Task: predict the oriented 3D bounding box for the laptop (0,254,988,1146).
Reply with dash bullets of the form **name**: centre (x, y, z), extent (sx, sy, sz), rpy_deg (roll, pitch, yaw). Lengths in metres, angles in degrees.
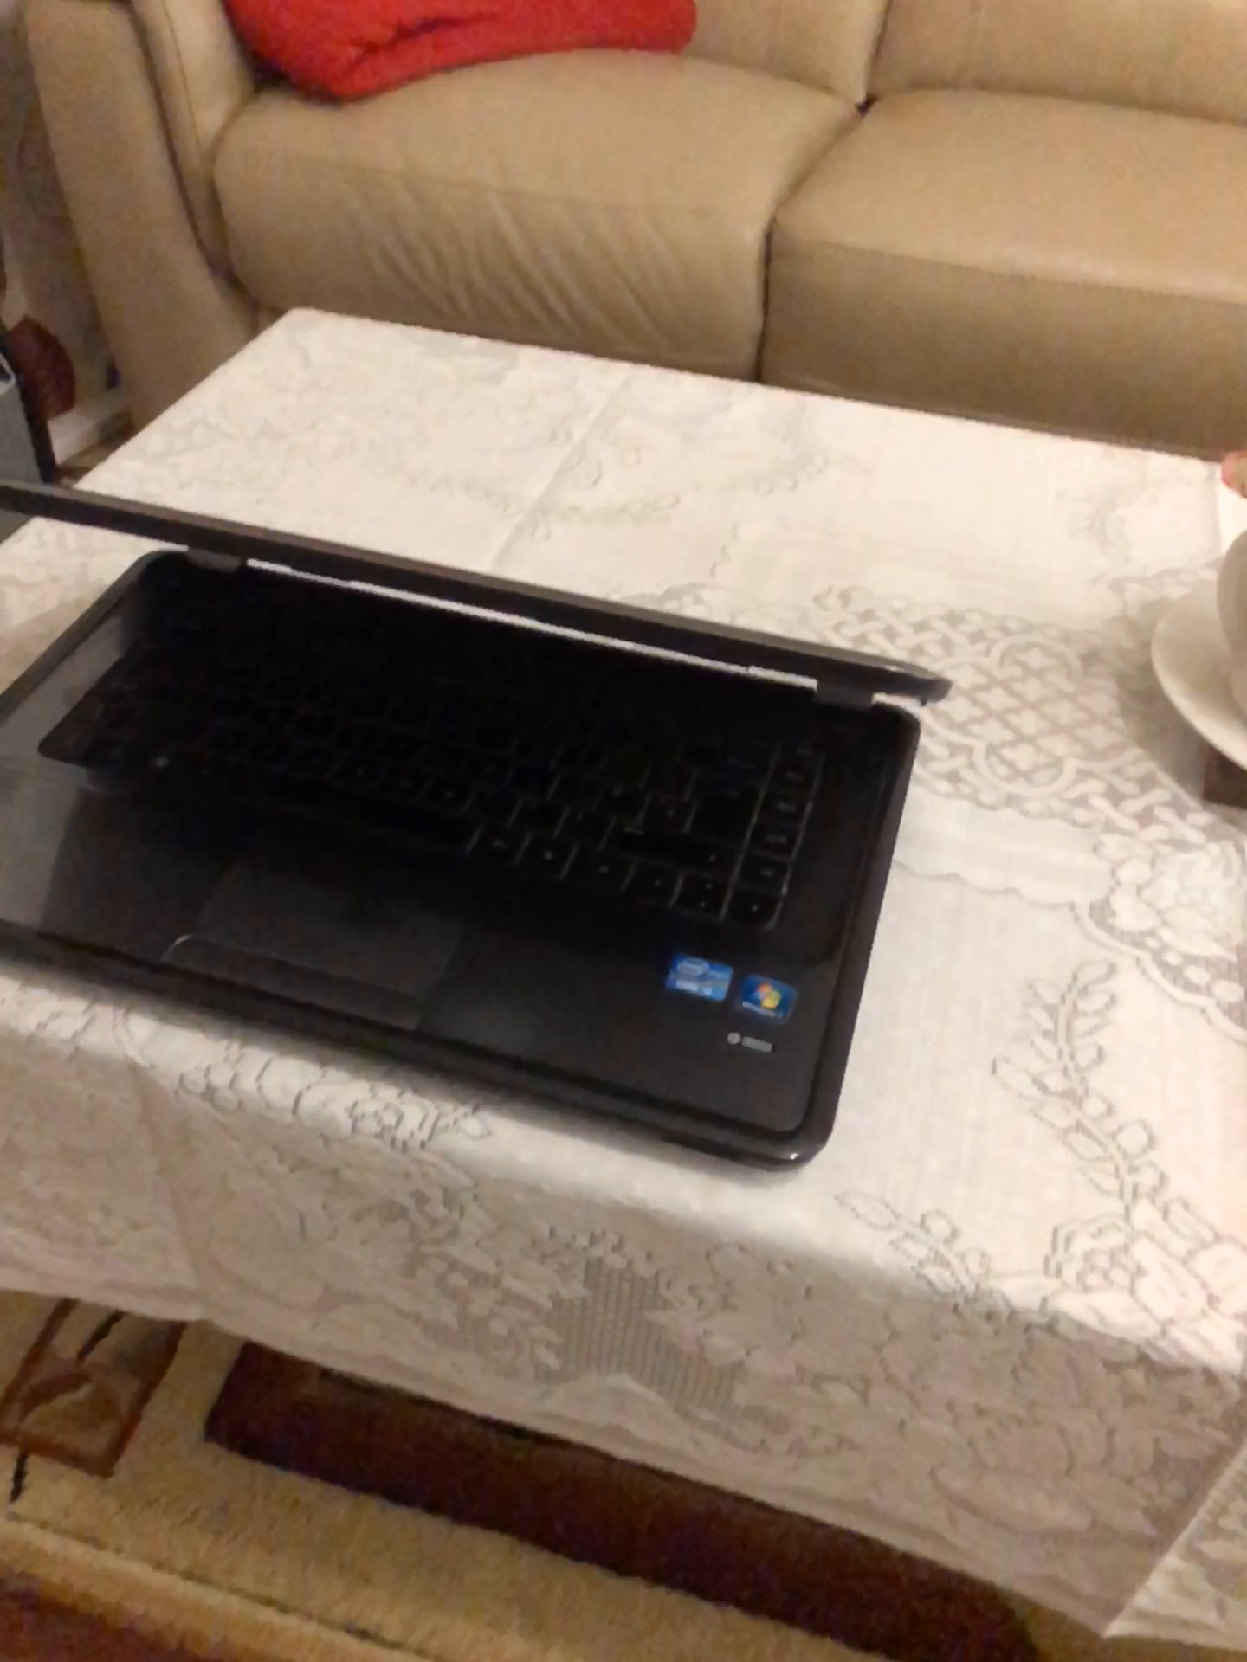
- **laptop**: centre (-0.075, -0.072, 0.497), extent (0.360, 0.139, 0.239), rpy_deg (13, 44, 11)
